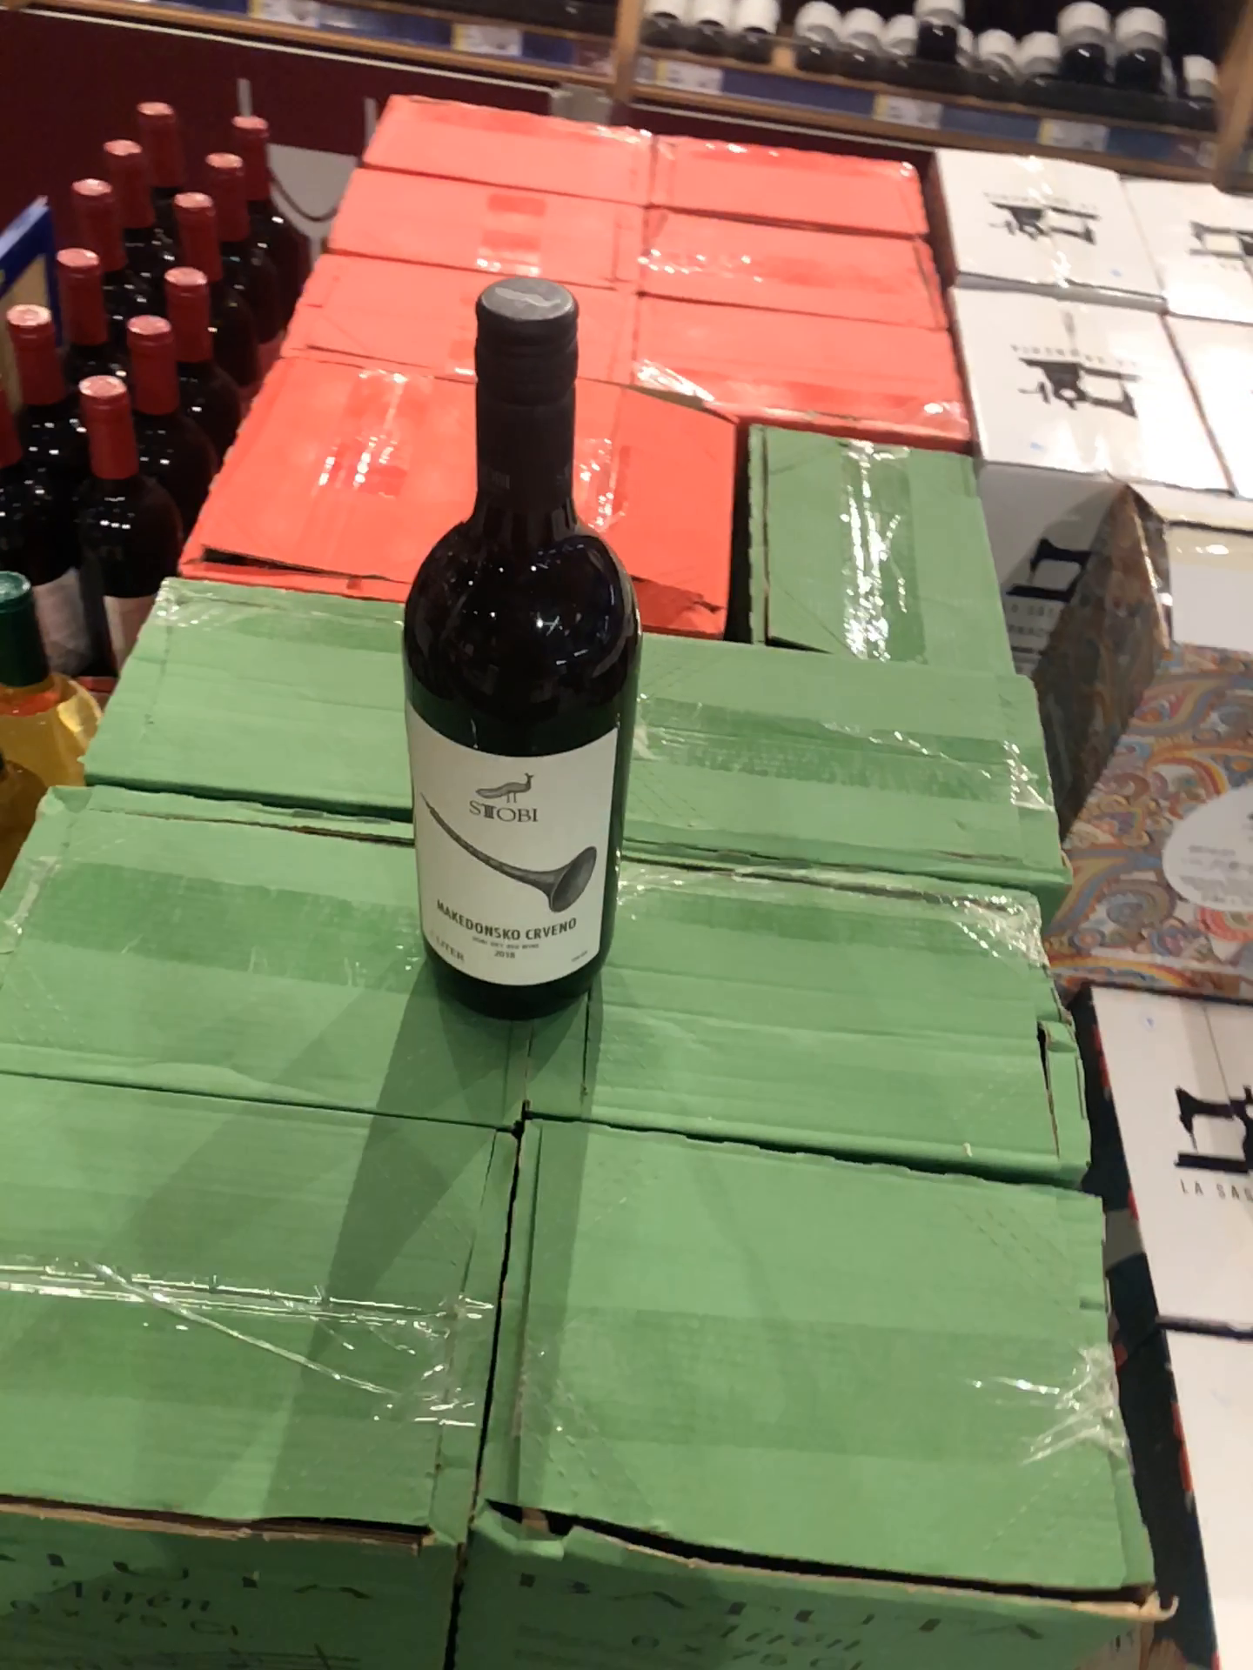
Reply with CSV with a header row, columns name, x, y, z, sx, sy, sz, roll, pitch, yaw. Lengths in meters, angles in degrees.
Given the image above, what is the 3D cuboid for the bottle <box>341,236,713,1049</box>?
name,x,y,z,sx,sy,sz,roll,pitch,yaw
bottle,-0.040,-0.046,0.492,0.090,0.288,0.081,10,47,1
